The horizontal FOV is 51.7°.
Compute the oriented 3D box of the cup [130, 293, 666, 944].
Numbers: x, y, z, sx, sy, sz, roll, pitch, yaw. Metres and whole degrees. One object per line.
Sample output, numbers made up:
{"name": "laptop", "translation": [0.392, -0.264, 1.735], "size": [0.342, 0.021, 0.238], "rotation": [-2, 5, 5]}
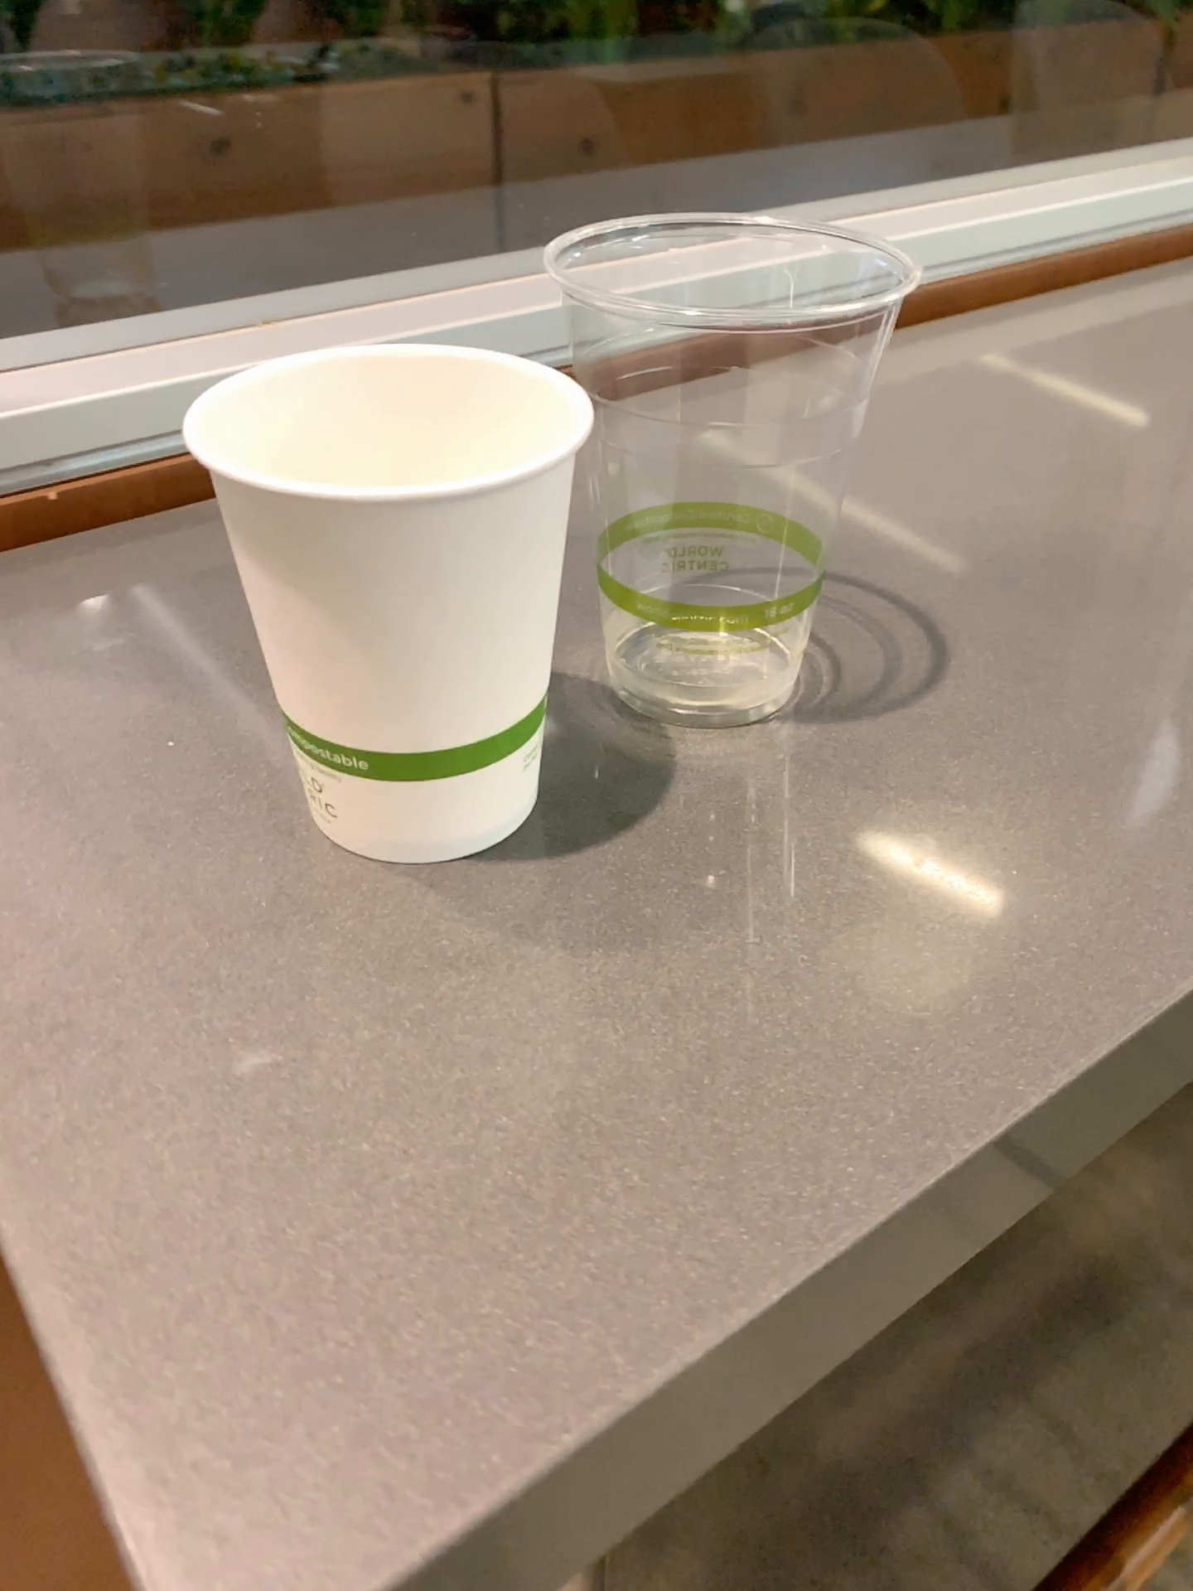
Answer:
{"name": "cup", "translation": [-0.046, -0.046, 0.293], "size": [0.090, 0.109, 0.091], "rotation": [0, 36, 0]}

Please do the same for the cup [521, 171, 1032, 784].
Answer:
{"name": "cup", "translation": [0.037, -0.088, 0.327], "size": [0.080, 0.119, 0.101], "rotation": [-15, 39, -20]}
